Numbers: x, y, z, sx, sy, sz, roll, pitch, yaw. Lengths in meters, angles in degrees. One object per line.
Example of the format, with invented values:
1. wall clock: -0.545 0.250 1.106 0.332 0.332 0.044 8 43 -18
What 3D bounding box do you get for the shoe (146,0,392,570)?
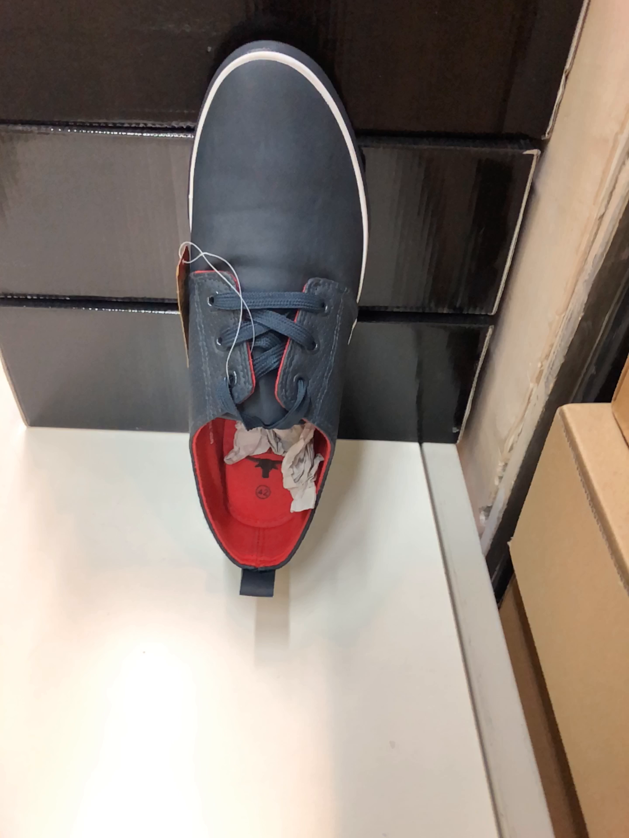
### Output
1. shoe: -0.019 -0.066 0.380 0.103 0.268 0.101 3 19 4
